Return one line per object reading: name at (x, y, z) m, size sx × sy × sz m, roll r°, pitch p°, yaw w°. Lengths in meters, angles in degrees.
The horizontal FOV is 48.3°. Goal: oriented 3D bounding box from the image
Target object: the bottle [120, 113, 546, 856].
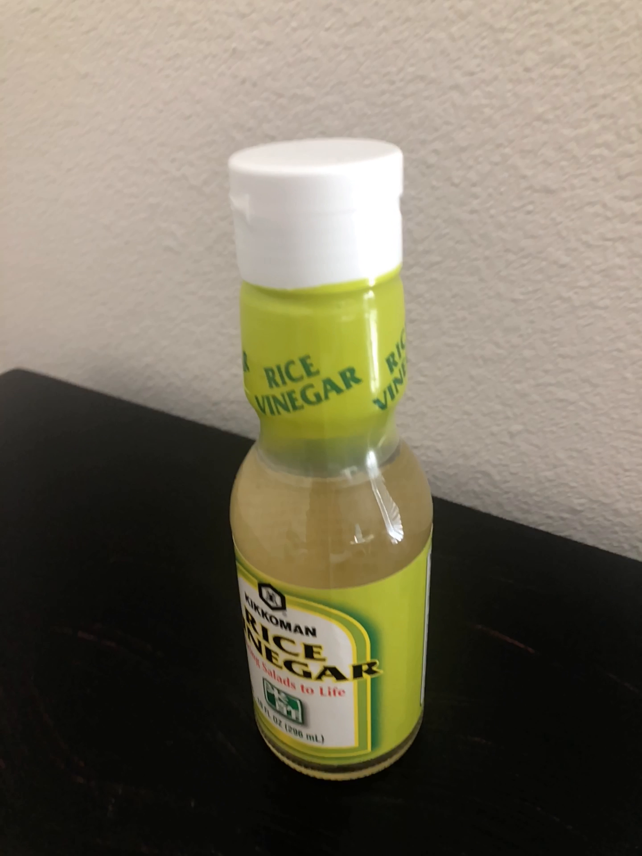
bottle at (0.006, 0.019, 0.214) m, size 0.070 × 0.199 × 0.070 m, roll -2°, pitch 29°, yaw 1°
